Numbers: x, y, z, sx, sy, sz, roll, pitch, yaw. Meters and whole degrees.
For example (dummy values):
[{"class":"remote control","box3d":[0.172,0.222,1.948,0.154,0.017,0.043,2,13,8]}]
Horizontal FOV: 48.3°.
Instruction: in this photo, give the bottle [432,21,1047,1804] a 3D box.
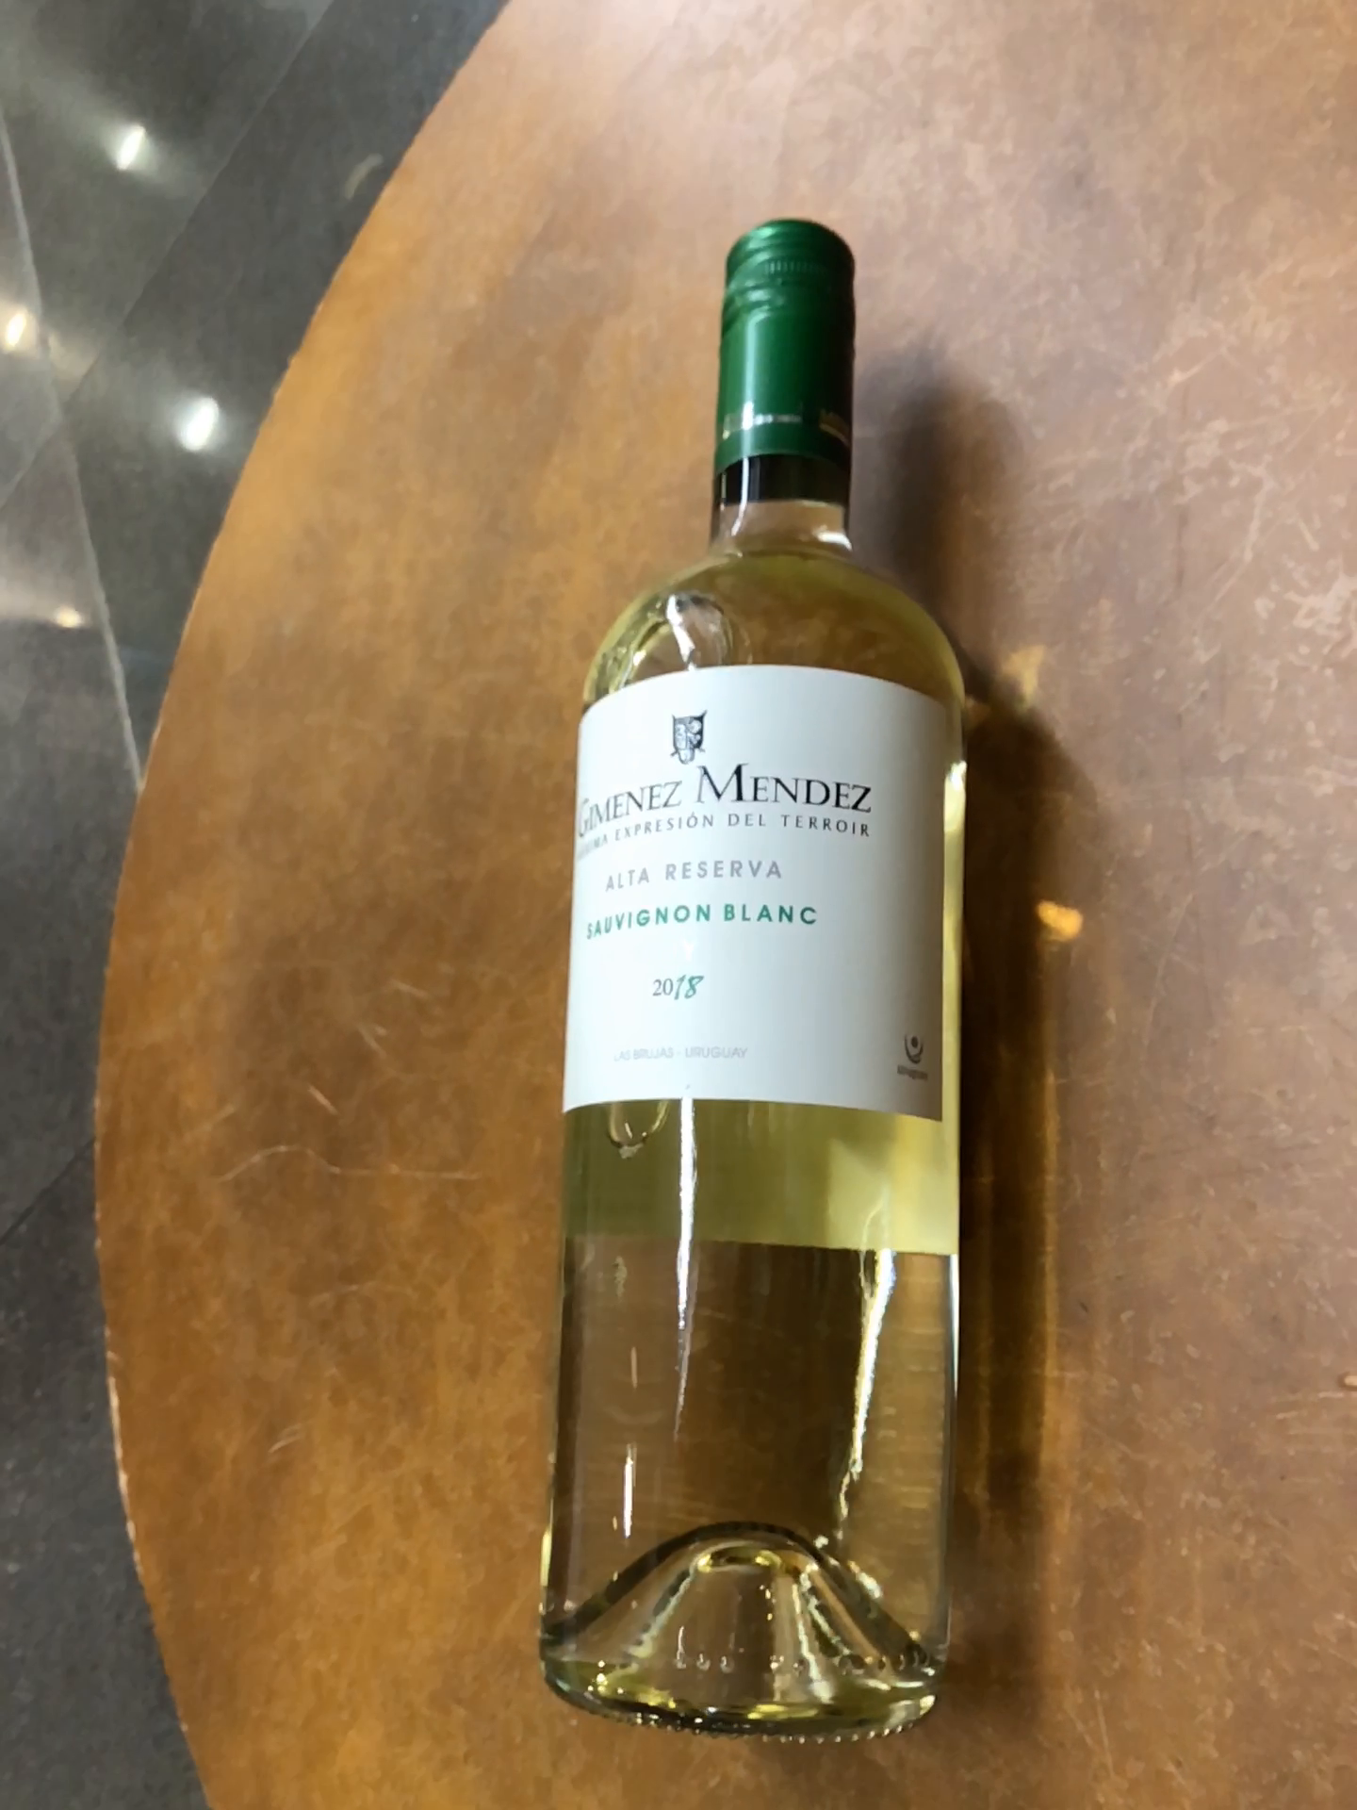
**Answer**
[{"class":"bottle","box3d":[0.015,-0.011,0.292,0.090,0.050,0.300,-12,68,40]}]
